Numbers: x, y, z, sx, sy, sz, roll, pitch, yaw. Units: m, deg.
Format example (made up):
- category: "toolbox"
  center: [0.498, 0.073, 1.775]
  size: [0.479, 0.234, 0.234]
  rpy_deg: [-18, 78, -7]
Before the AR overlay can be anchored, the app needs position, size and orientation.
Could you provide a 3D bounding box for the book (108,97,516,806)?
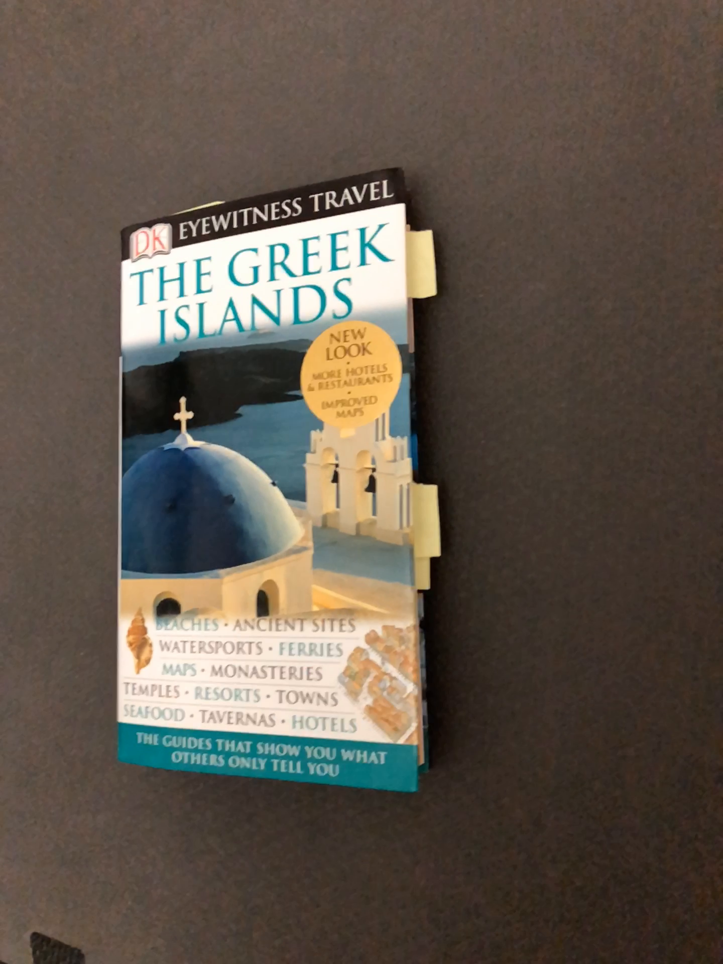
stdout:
- category: "book"
  center: [-0.025, -0.010, 0.316]
  size: [0.160, 0.030, 0.240]
  rpy_deg: [-3, 84, 25]
